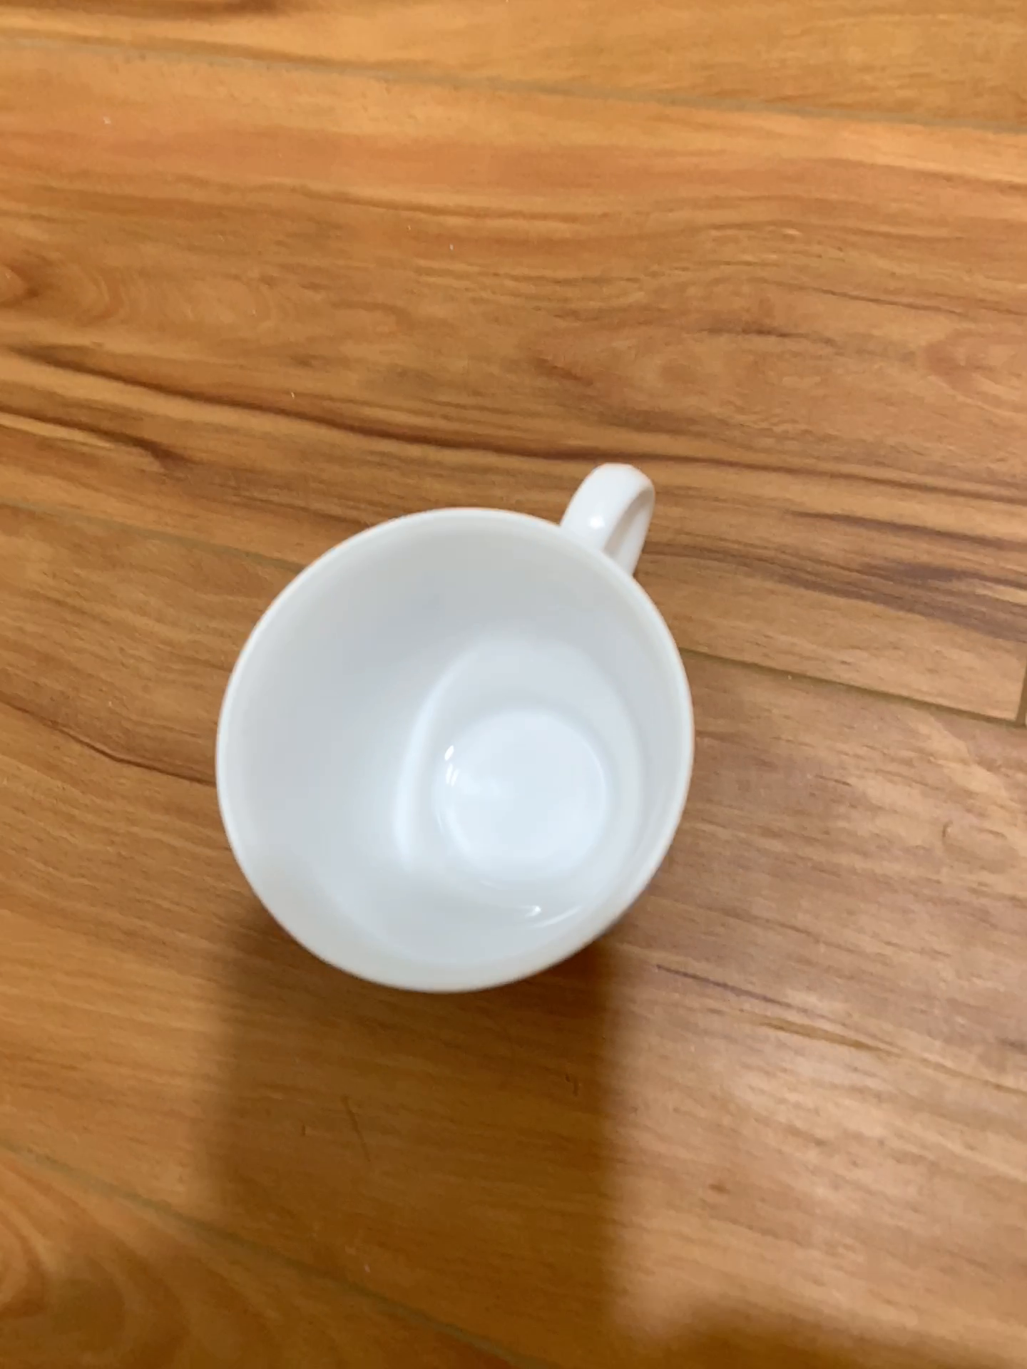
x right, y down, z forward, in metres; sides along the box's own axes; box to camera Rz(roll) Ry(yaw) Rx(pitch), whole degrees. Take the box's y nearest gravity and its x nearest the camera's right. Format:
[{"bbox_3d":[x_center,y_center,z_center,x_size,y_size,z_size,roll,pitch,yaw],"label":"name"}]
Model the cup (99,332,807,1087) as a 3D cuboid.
[{"bbox_3d":[-0.004,0.005,0.200,0.083,0.063,0.104,19,79,16],"label":"cup"}]
